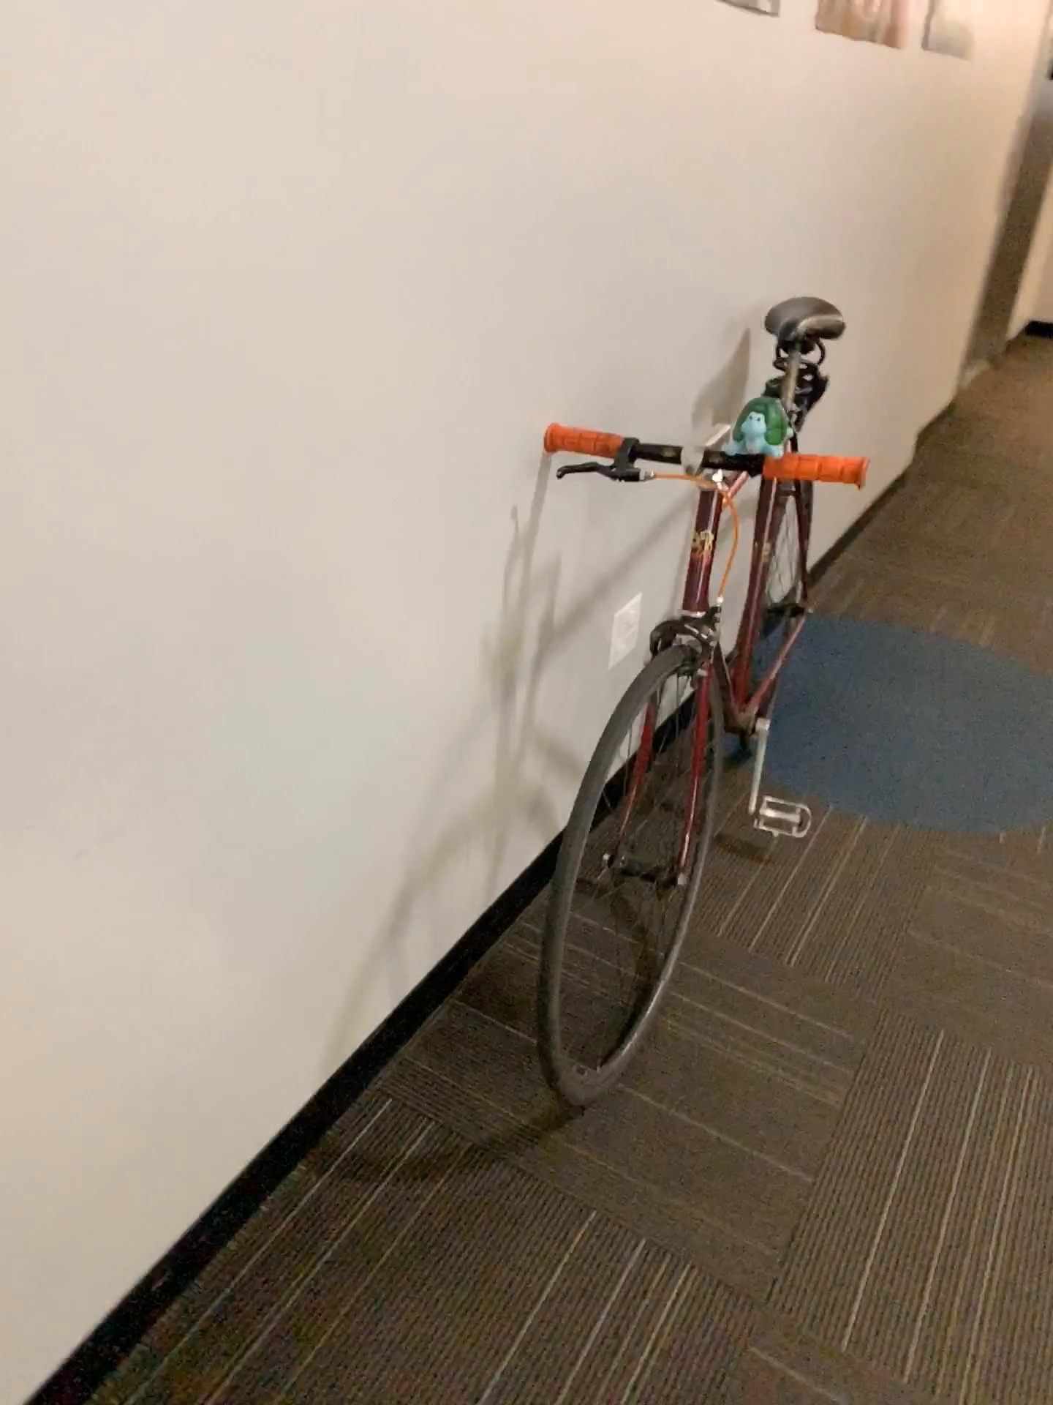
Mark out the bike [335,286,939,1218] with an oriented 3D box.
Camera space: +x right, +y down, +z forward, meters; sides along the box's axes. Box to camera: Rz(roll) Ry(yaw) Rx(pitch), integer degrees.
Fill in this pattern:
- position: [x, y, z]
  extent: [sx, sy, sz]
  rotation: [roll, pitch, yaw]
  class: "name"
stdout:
- position: [0.310, -0.129, 1.898]
  extent: [0.448, 0.909, 1.634]
  rotation: [15, 31, 18]
  class: "bike"
